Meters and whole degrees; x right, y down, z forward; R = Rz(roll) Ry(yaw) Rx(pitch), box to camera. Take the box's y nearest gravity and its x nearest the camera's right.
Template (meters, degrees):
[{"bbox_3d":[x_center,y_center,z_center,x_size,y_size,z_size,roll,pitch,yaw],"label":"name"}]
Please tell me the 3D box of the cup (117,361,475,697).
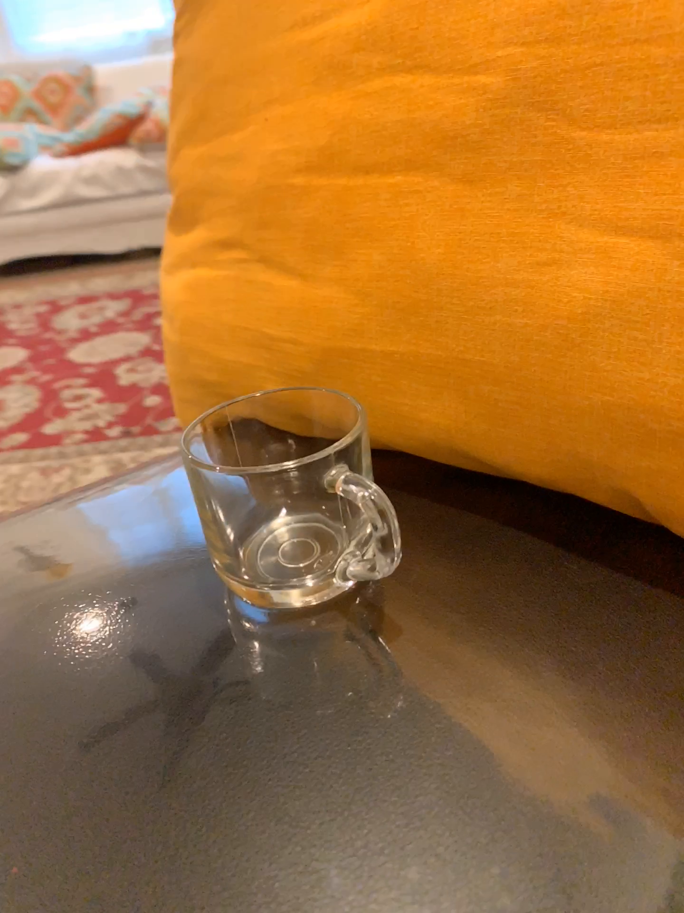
[{"bbox_3d":[-0.017,0.016,0.249,0.070,0.059,0.101,-28,34,-32],"label":"cup"}]
